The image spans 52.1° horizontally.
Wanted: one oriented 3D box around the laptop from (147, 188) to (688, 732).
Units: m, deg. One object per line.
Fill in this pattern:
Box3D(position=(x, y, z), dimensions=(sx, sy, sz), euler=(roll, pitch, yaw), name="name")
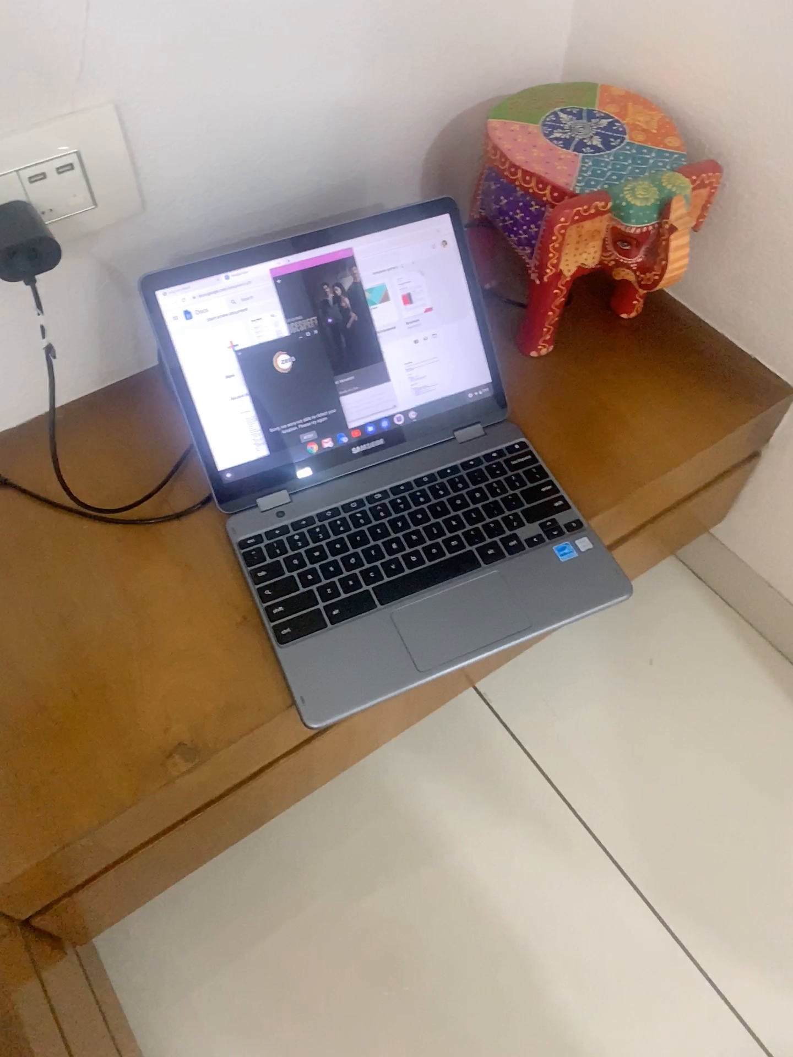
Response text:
Box3D(position=(-0.004, -0.083, 0.730), dimensions=(0.314, 0.164, 0.384), euler=(-20, 60, -13), name="laptop")
